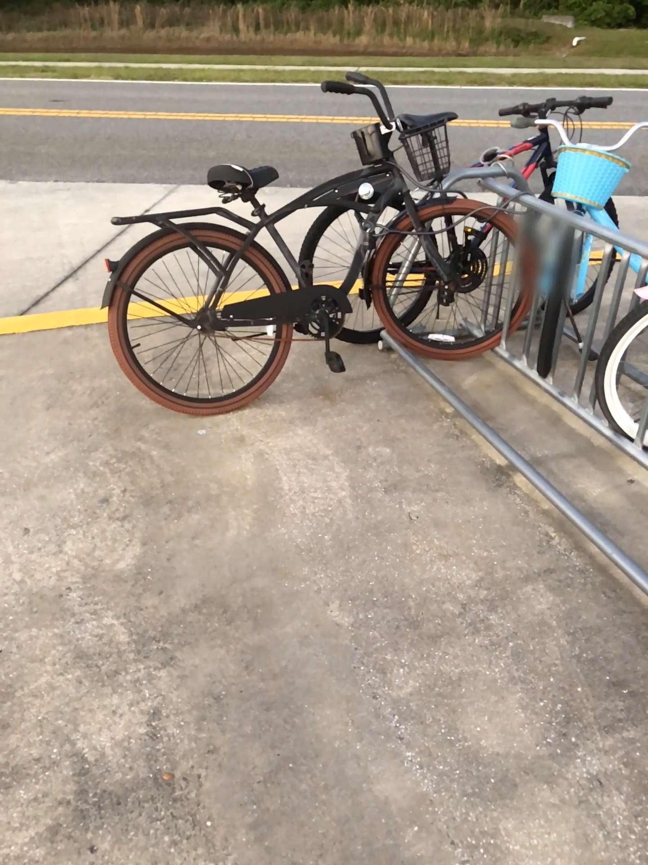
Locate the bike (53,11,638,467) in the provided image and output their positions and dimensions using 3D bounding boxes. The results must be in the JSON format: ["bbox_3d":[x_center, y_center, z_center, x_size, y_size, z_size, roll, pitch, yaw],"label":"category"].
[{"bbox_3d":[0.028,-0.808,2.685,1.721,1.117,0.834,-16,35,-16],"label":"bike"}]
